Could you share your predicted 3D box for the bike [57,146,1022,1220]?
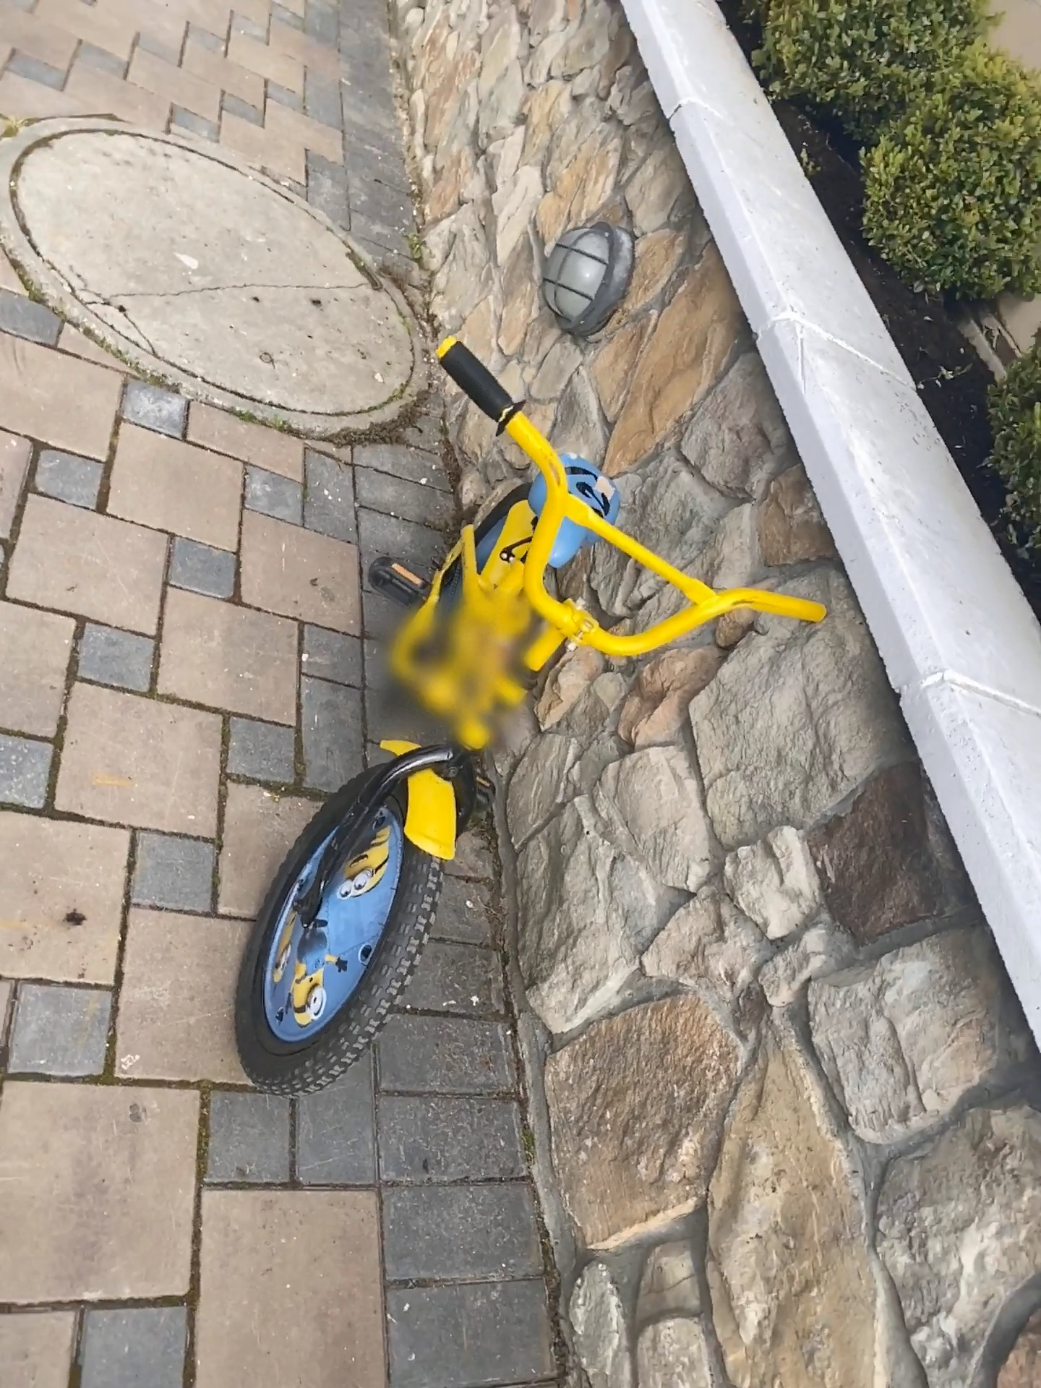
[{"bbox_3d":[0.011,-0.068,1.405,0.620,0.736,1.088,30,39,-16],"label":"bike"}]
